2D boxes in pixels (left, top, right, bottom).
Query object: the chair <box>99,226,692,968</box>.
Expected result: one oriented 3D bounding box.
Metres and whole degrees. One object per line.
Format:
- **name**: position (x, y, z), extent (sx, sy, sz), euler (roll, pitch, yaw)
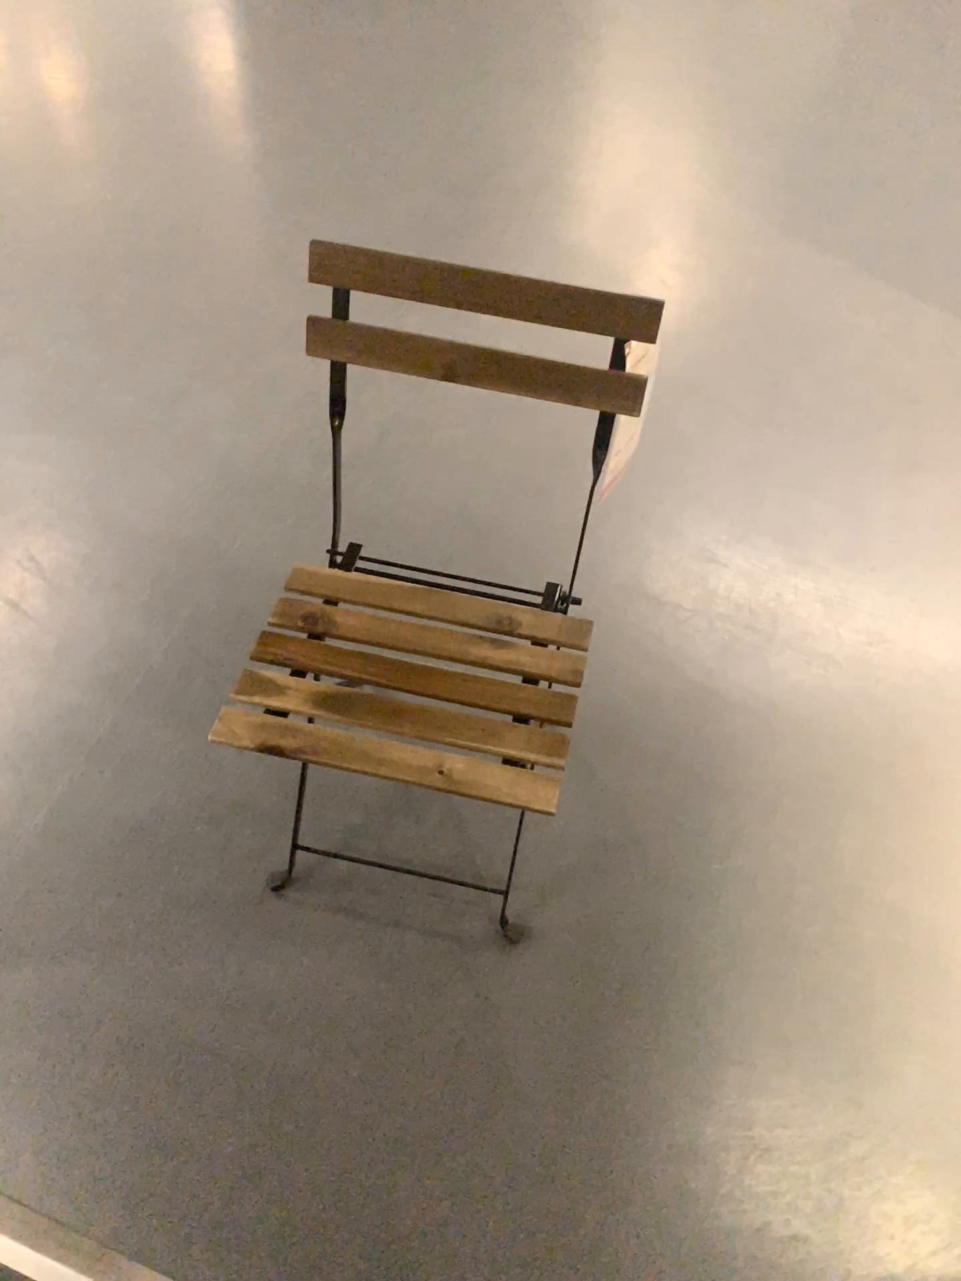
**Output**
- **chair**: position (-0.056, -0.009, 1.182), extent (0.430, 0.698, 0.501), euler (11, 54, 5)
